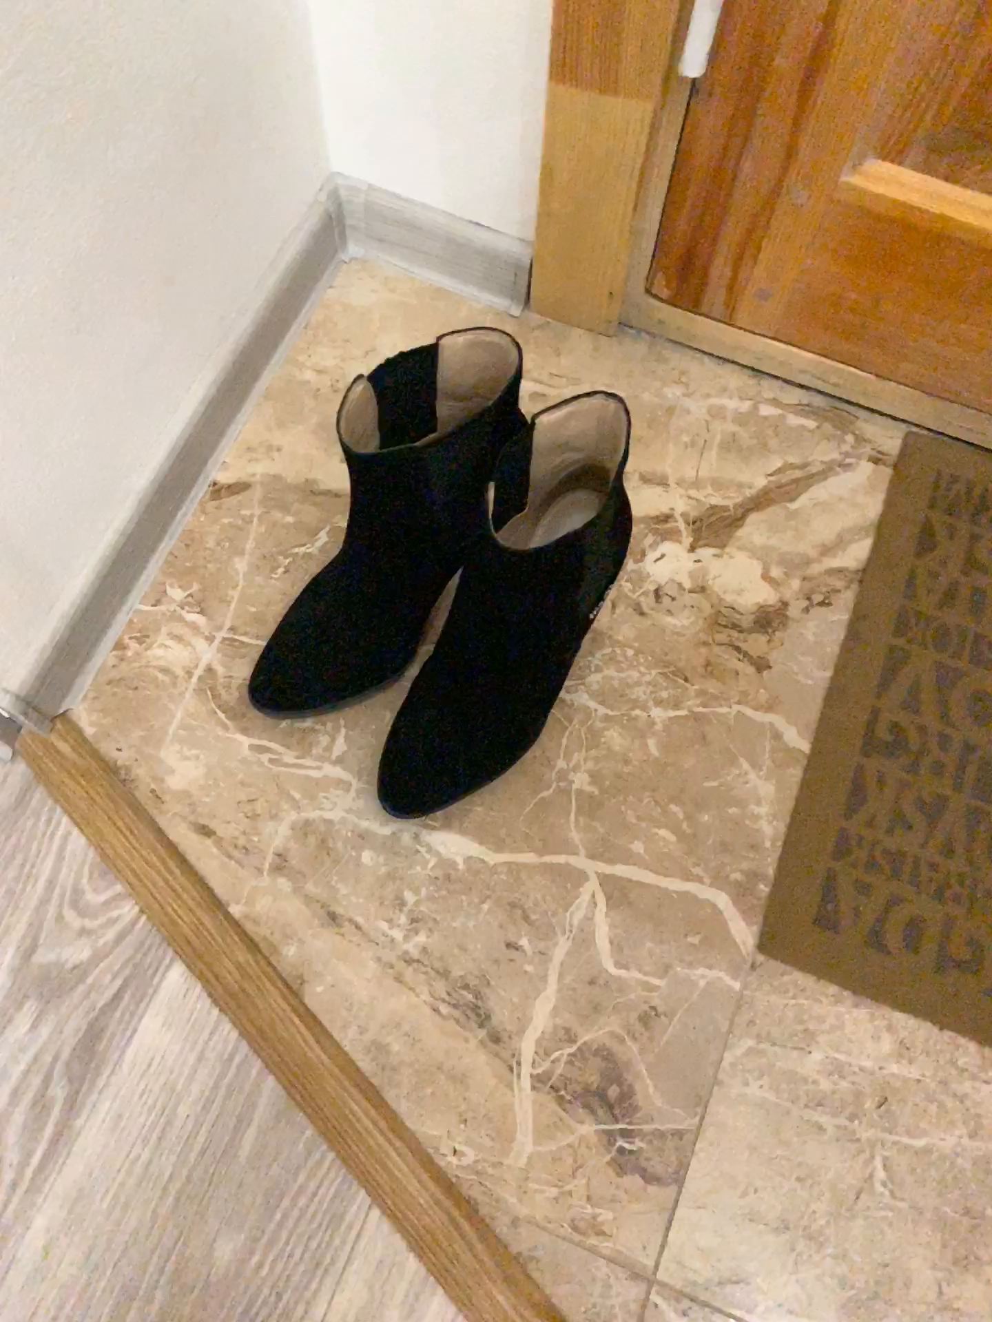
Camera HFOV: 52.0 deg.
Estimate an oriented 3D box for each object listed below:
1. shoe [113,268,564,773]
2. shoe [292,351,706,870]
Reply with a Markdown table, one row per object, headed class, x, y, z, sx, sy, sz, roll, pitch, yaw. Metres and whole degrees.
| class | x | y | z | sx | sy | sz | roll | pitch | yaw |
| --- | --- | --- | --- | --- | --- | --- | --- | --- | --- |
| shoe | -0.073 | -0.068 | 0.578 | 0.086 | 0.199 | 0.214 | 41 | 72 | 14 |
| shoe | 0.004 | -0.016 | 0.564 | 0.086 | 0.199 | 0.214 | 33 | 70 | 11 |
